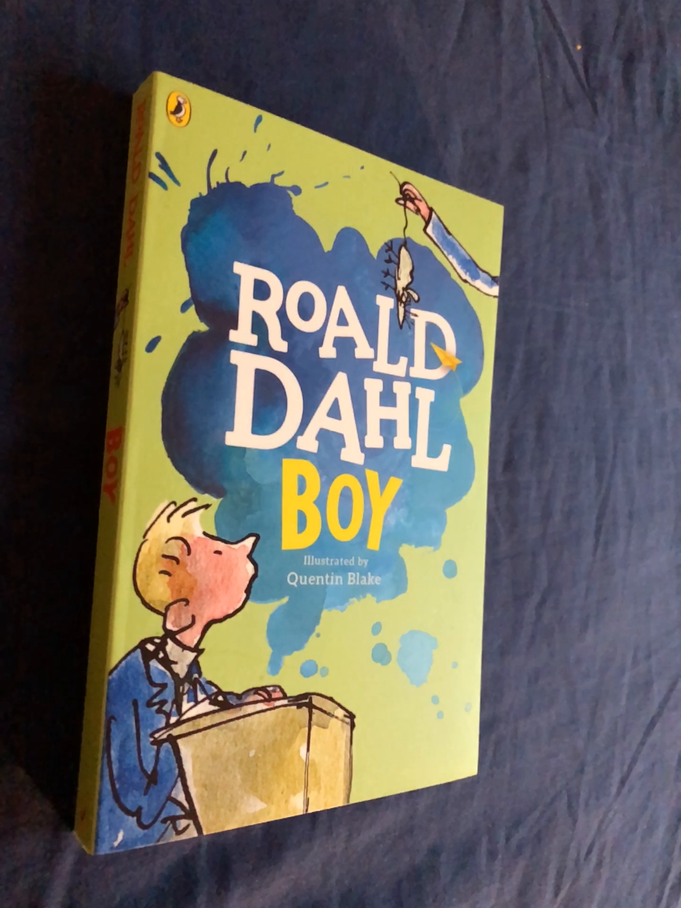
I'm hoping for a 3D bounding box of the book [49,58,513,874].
[{"bbox_3d":[-0.007,0.006,0.222,0.126,0.027,0.189,8,84,-36],"label":"book"}]
